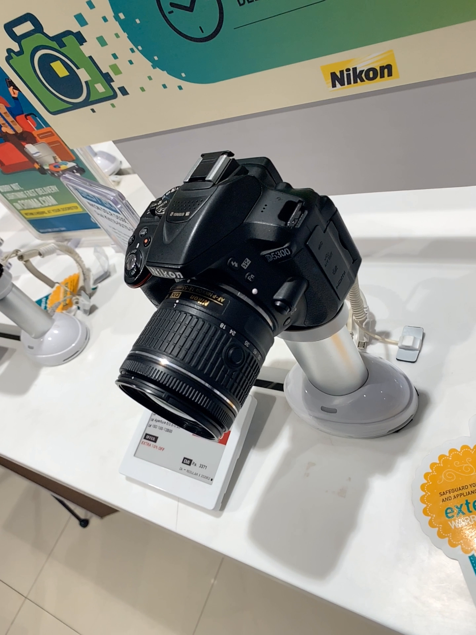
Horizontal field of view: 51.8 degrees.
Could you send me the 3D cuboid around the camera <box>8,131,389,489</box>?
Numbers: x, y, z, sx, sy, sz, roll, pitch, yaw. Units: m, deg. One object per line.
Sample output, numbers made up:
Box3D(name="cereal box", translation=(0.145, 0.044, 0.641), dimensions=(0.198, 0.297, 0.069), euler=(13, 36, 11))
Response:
Box3D(name="camera", translation=(-0.011, -0.008, 0.236), dimensions=(0.119, 0.082, 0.122), euler=(5, 56, 35))
